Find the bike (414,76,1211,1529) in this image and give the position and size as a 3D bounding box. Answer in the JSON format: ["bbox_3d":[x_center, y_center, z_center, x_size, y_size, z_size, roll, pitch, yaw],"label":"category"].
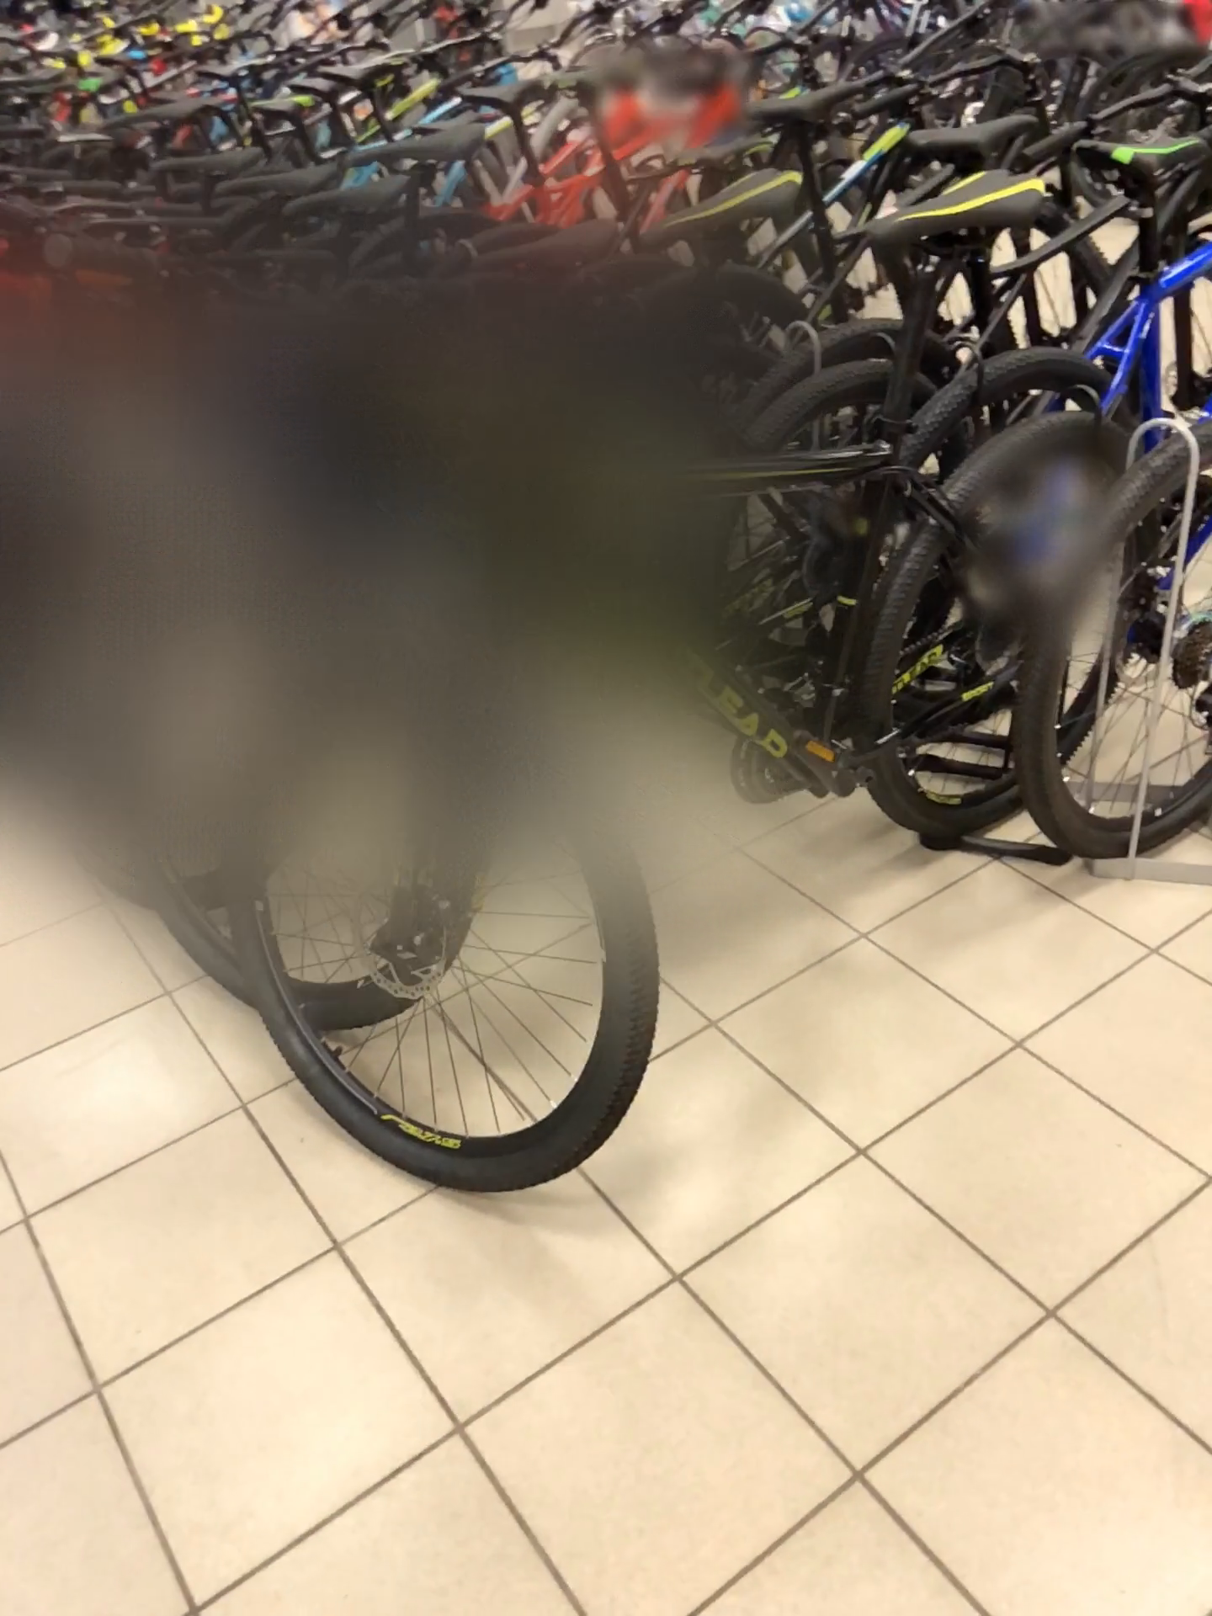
[{"bbox_3d":[0.460,-0.214,1.684,0.663,1.044,1.357,25,45,38],"label":"bike"}]
